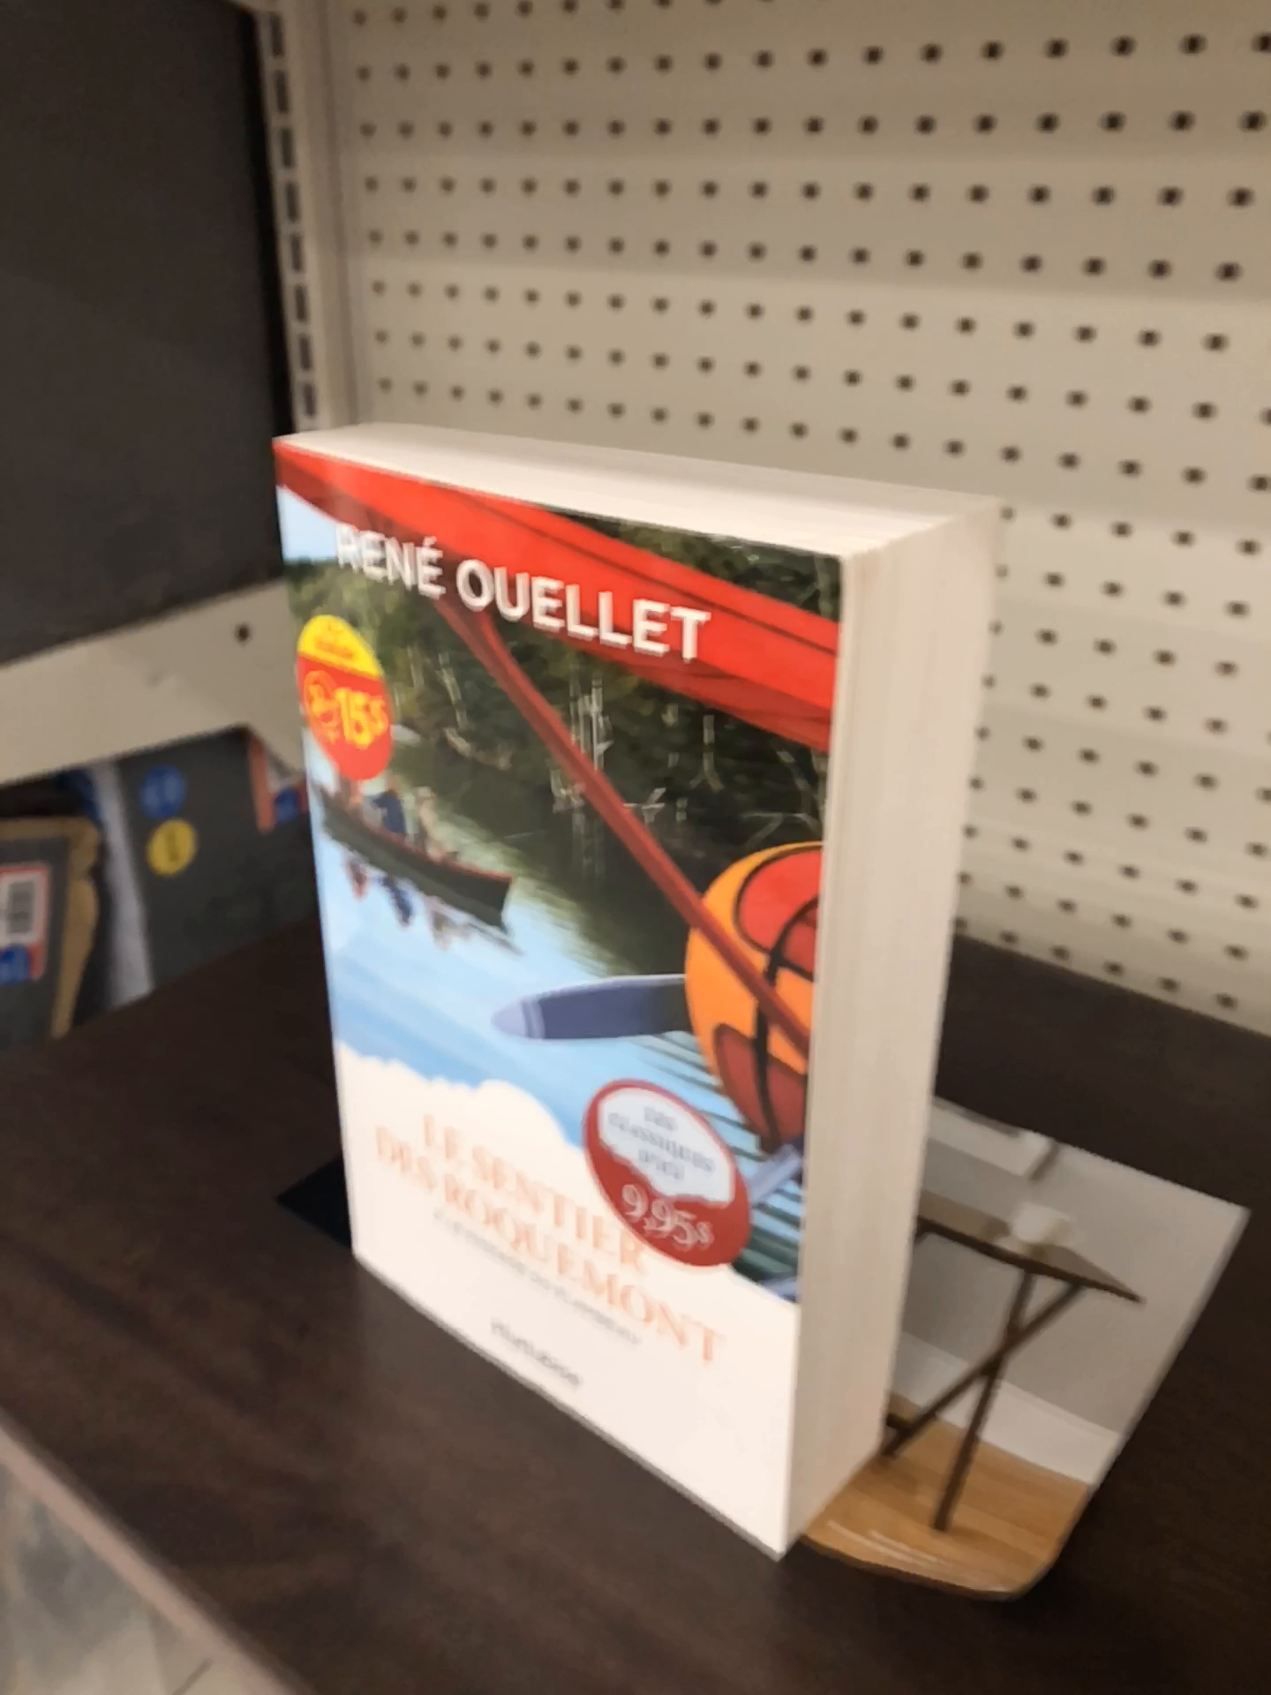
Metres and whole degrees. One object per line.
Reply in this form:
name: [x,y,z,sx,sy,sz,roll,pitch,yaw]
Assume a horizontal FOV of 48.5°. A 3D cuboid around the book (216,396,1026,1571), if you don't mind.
book: [-0.012,0.021,0.318,0.153,0.215,0.065,21,31,36]
